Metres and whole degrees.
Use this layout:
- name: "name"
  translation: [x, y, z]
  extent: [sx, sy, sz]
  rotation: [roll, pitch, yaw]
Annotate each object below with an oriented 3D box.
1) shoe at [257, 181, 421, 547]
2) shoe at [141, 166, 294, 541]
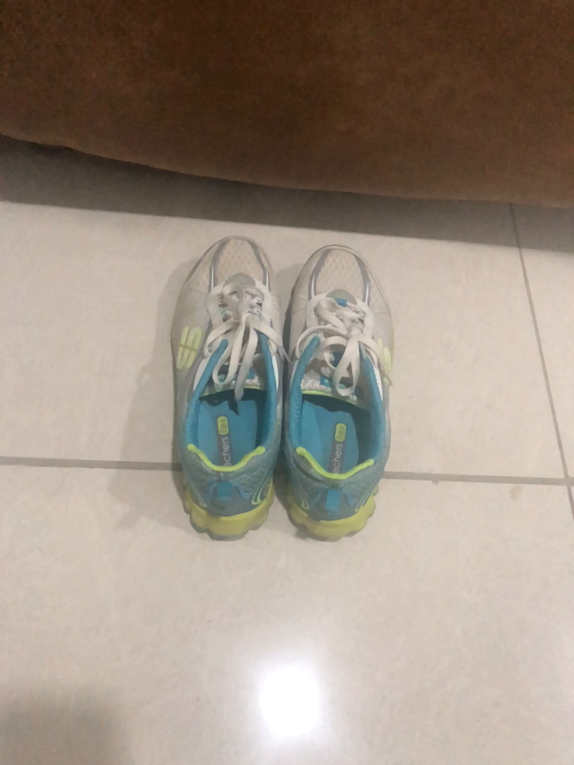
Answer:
- name: "shoe"
  translation: [0.044, -0.023, 0.555]
  extent: [0.110, 0.100, 0.300]
  rotation: [6, 62, -3]
- name: "shoe"
  translation: [-0.051, -0.030, 0.533]
  extent: [0.100, 0.100, 0.300]
  rotation: [2, 63, -5]
